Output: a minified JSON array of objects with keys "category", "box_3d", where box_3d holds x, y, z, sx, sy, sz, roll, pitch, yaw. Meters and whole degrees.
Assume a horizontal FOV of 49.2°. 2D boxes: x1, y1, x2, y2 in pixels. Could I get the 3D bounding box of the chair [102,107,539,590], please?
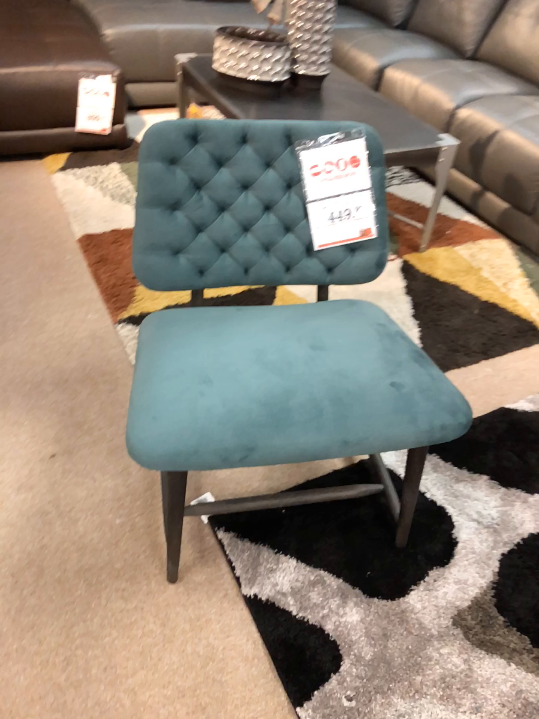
[{"category":"chair","box_3d":[0.016,-0.015,1.207,0.639,0.765,0.534,-3,42,-14]}]
